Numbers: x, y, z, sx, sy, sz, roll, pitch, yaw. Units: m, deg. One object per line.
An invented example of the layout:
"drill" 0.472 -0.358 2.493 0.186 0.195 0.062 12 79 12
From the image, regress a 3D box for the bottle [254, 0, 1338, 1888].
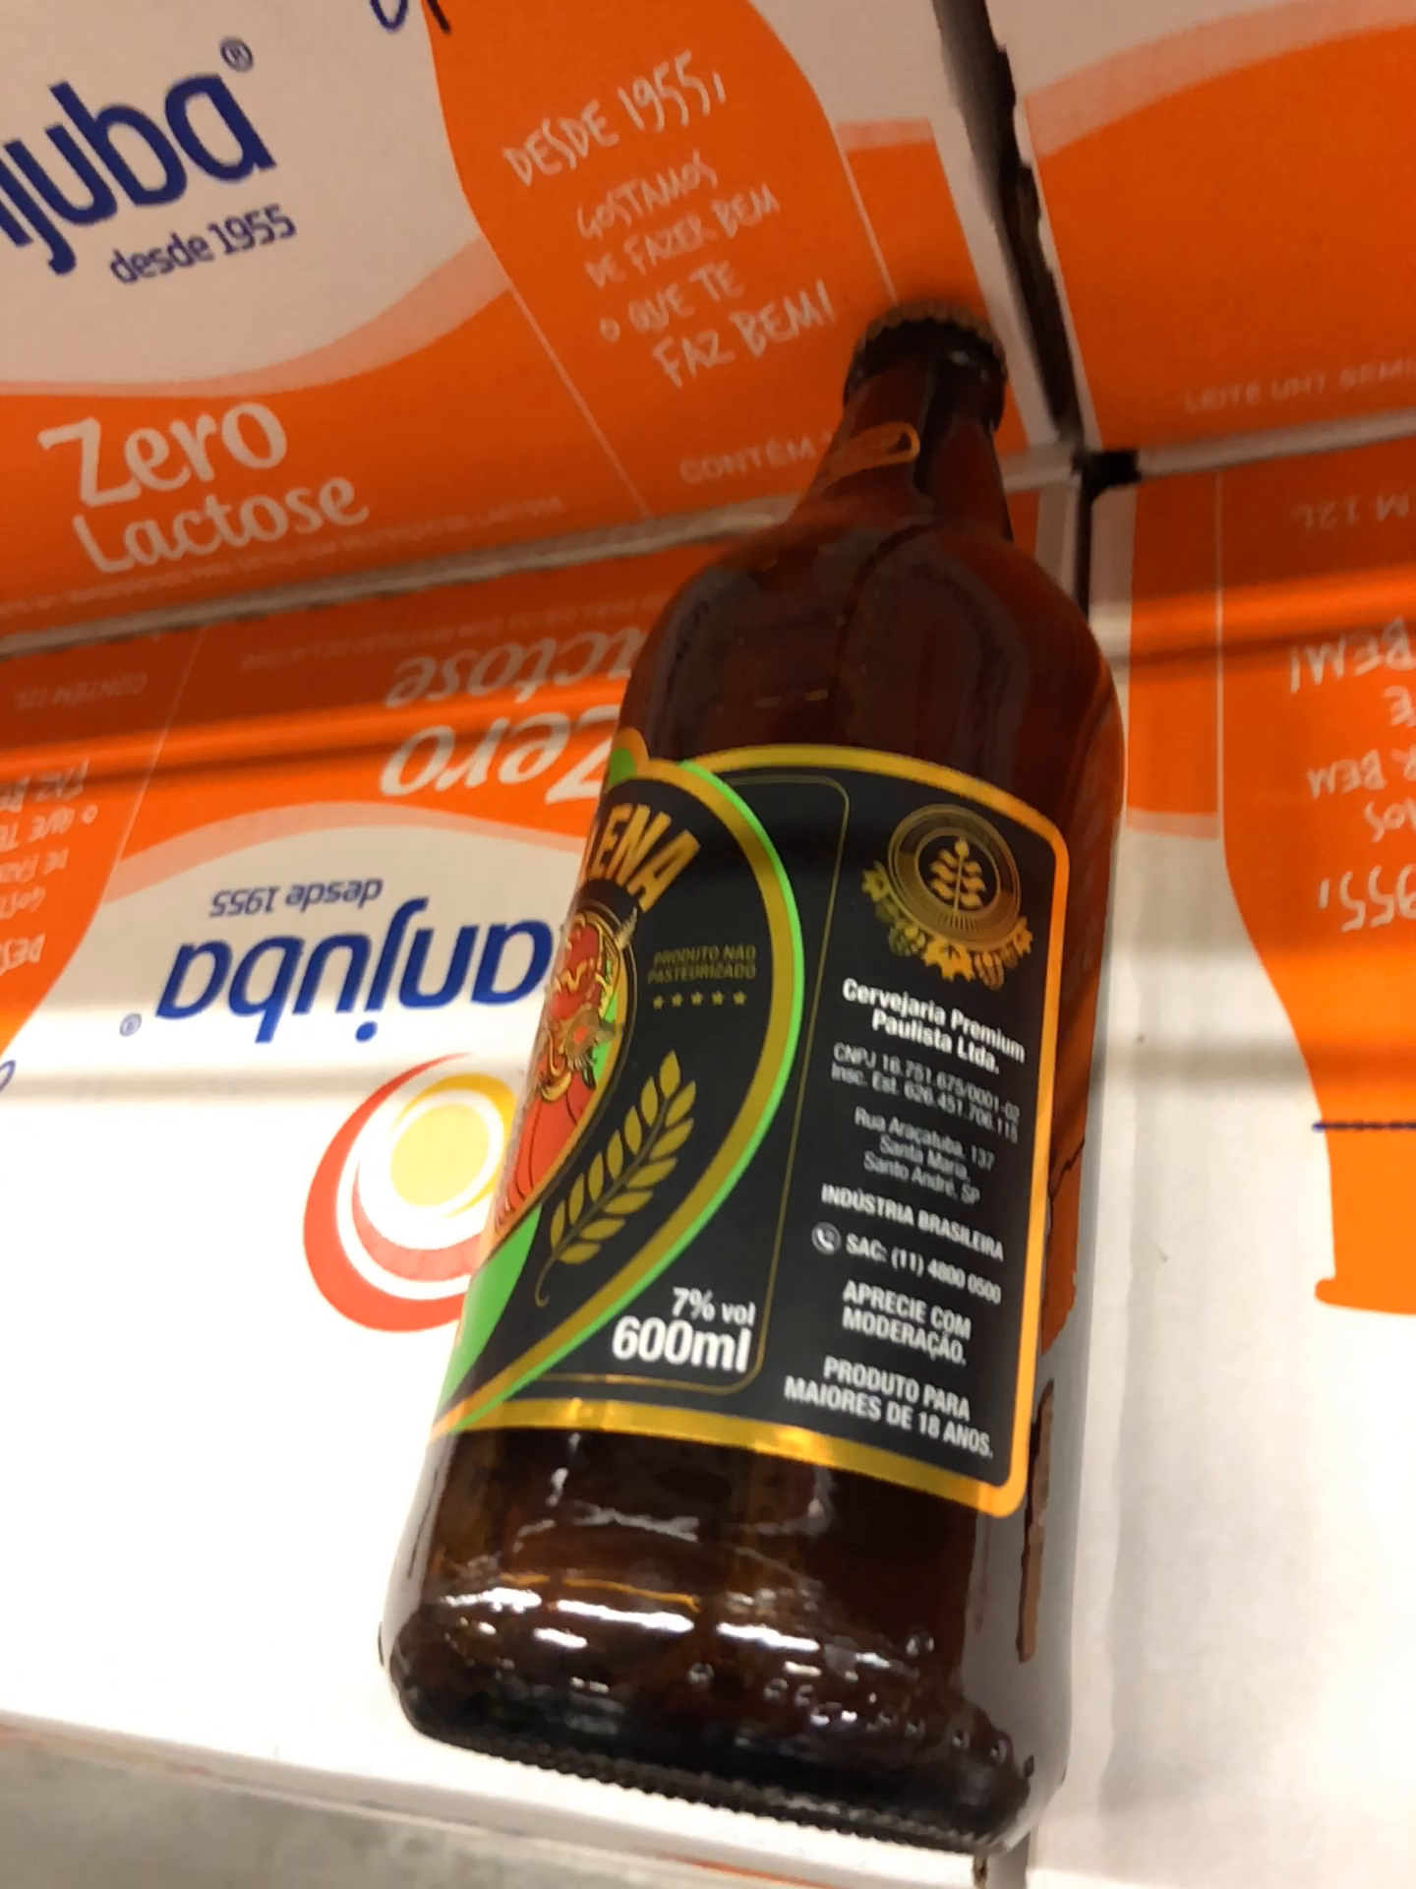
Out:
"bottle" 0.033 -0.022 0.235 0.100 0.060 0.281 -4 57 24
